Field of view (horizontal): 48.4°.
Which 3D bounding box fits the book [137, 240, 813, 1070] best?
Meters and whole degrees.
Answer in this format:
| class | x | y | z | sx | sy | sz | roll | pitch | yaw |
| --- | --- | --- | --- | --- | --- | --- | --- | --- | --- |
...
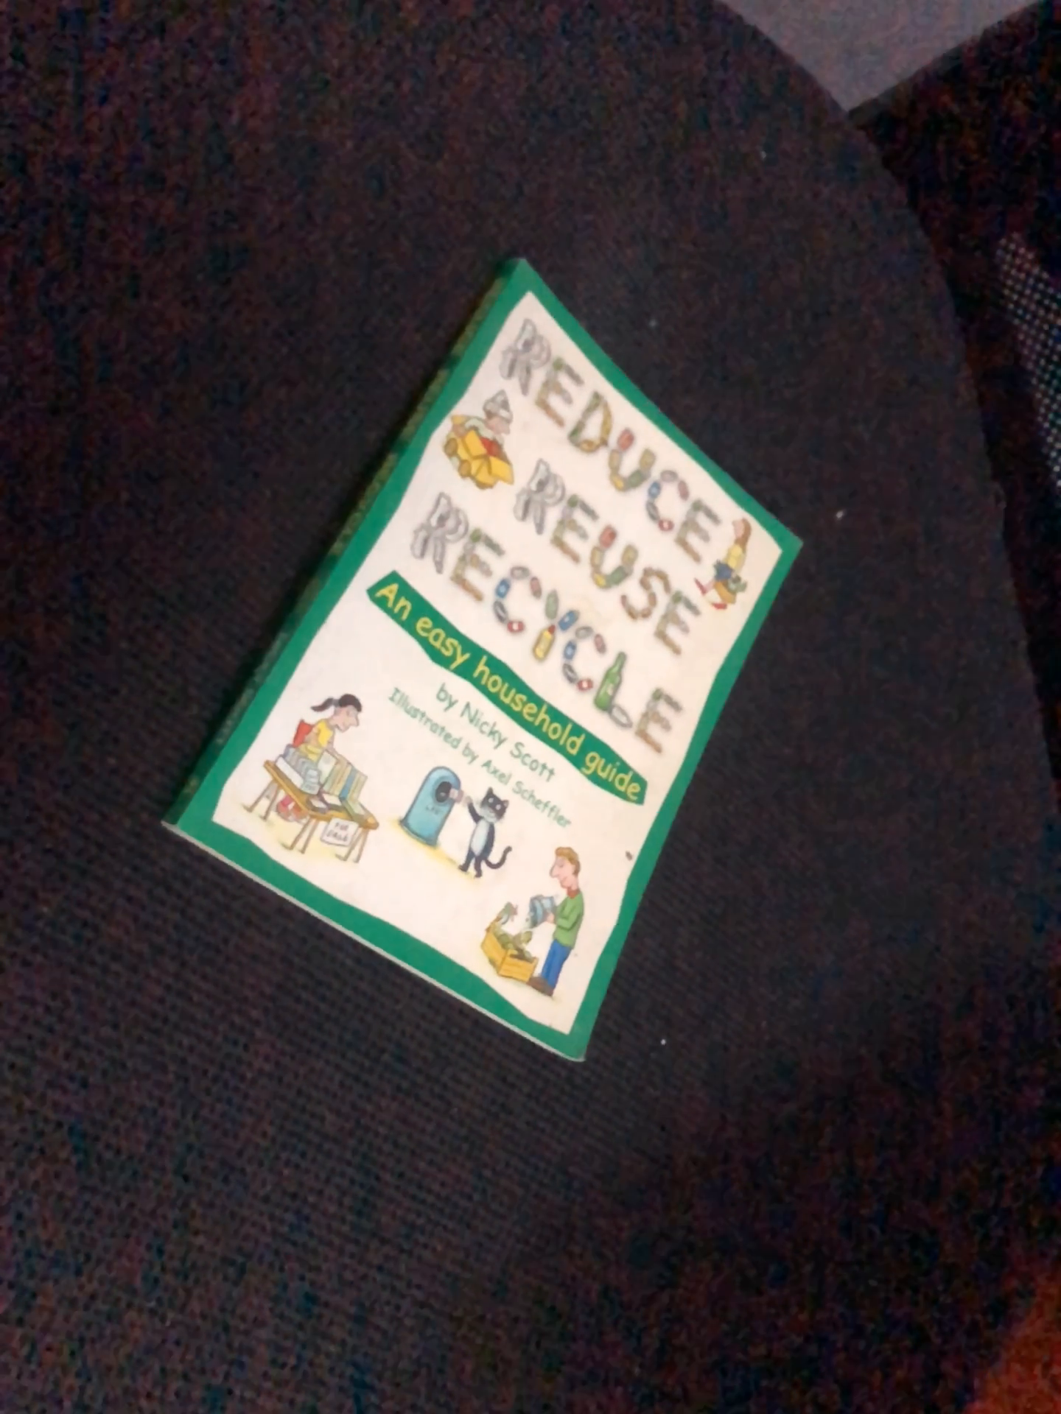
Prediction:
| class | x | y | z | sx | sy | sz | roll | pitch | yaw |
| --- | --- | --- | --- | --- | --- | --- | --- | --- | --- |
| book | 0.001 | -0.013 | 0.314 | 0.131 | 0.018 | 0.174 | 38 | 66 | -27 |
